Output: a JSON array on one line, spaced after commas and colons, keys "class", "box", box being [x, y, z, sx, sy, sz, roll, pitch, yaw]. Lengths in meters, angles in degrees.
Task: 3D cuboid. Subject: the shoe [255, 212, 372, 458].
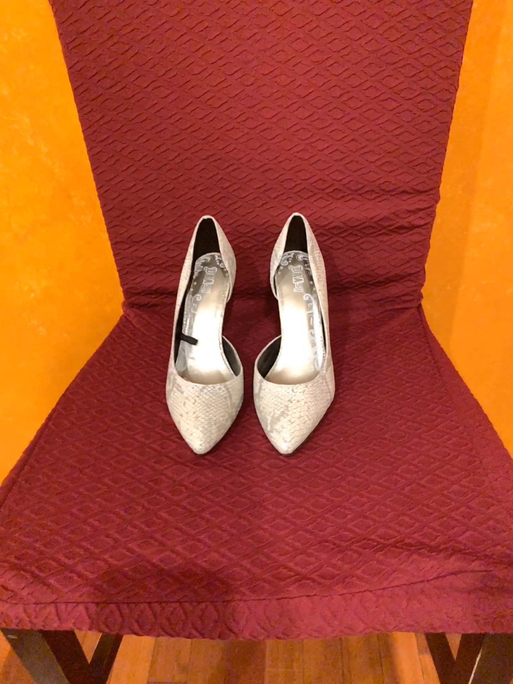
[{"class": "shoe", "box": [0.045, -0.020, 0.543, 0.090, 0.120, 0.250, -1, 40, 1]}]

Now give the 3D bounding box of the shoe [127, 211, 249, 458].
[{"class": "shoe", "box": [-0.055, -0.021, 0.543, 0.090, 0.119, 0.253, -1, 40, 1]}]
